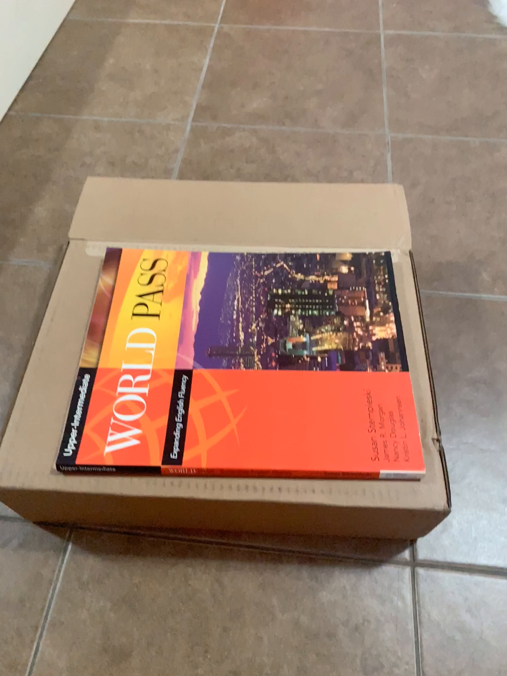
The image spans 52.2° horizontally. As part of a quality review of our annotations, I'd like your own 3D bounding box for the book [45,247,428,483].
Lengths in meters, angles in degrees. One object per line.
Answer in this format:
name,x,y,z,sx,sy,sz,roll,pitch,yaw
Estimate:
book,-0.010,0.010,0.430,0.270,0.018,0.211,1,56,2
